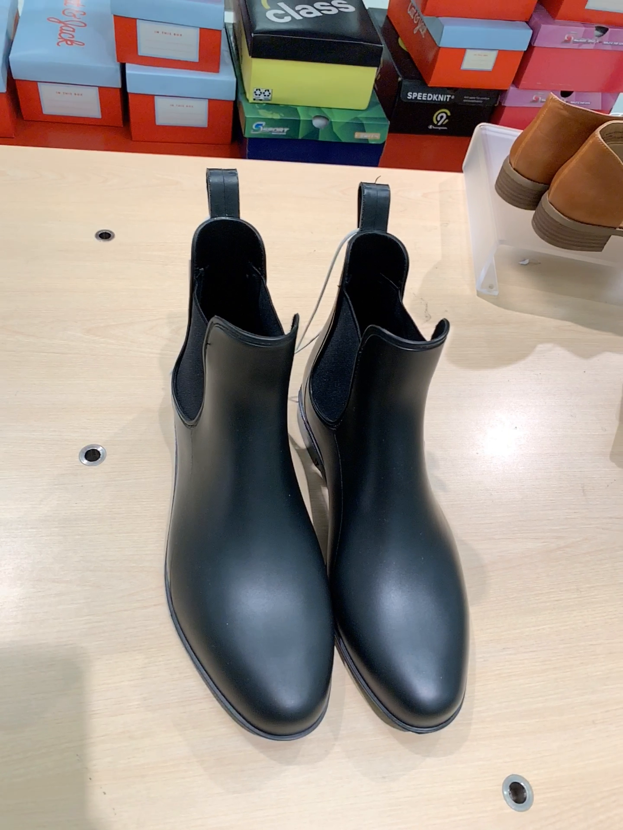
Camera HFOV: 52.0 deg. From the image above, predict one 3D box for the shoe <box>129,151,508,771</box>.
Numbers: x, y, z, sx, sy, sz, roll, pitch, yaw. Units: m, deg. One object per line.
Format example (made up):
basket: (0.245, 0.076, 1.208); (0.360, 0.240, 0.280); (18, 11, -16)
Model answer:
shoe: (-0.032, 0.020, 0.373); (0.113, 0.202, 0.287); (-5, 55, -15)

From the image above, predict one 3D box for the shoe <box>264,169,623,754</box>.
shoe: (0.055, 0.022, 0.391); (0.100, 0.199, 0.287); (-5, 55, -15)
